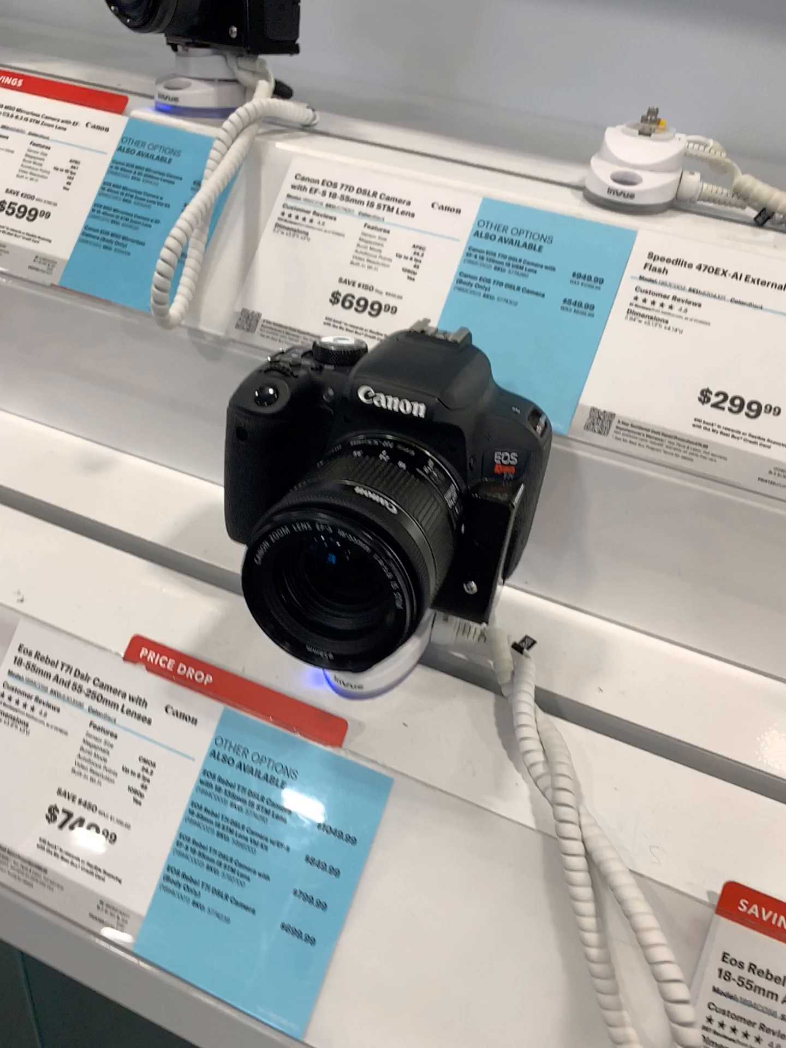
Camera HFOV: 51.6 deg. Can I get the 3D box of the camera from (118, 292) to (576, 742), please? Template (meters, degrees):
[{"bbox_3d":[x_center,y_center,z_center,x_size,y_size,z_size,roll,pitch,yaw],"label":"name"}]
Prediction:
[{"bbox_3d":[-0.011,-0.015,0.330,0.130,0.099,0.139,15,33,12],"label":"camera"}]
